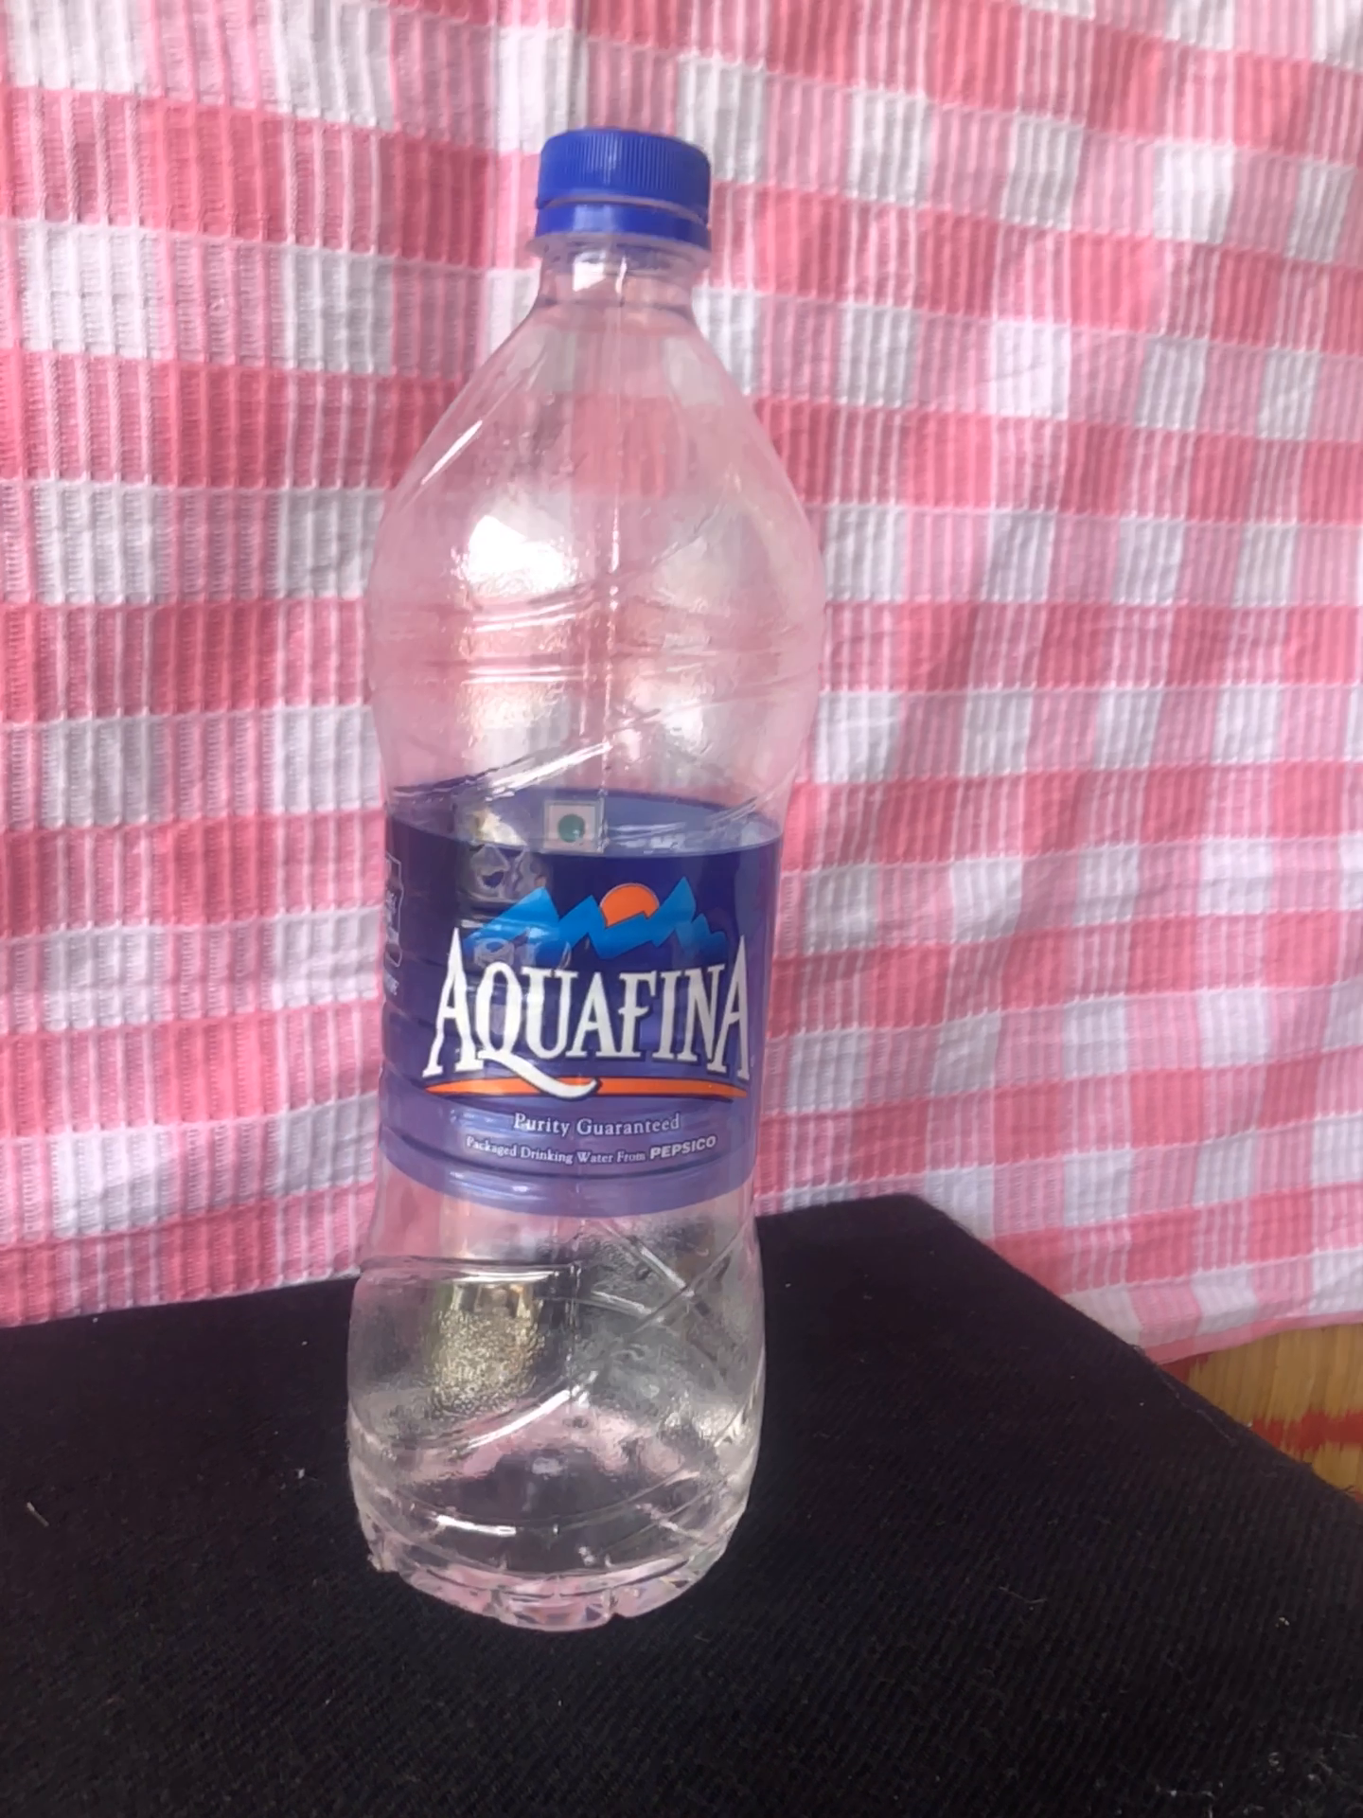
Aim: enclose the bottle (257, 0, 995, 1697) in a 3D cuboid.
[{"bbox_3d":[-0.017,0.000,0.265,0.090,0.259,0.070,5,14,-4],"label":"bottle"}]
